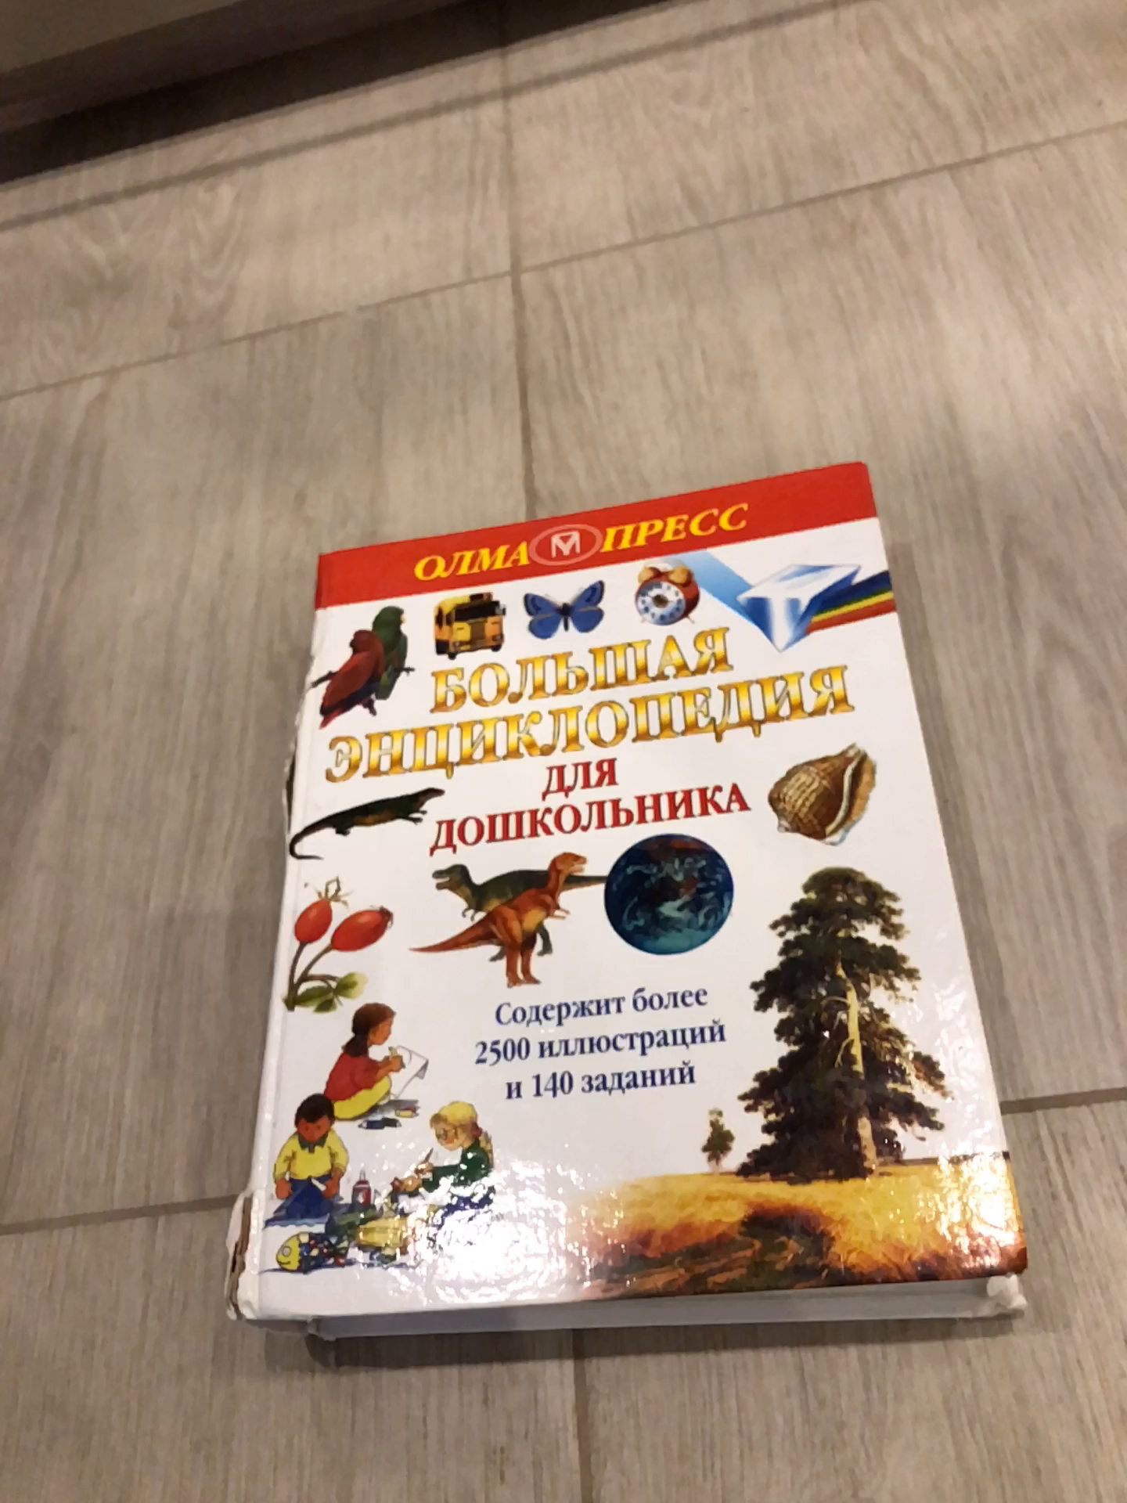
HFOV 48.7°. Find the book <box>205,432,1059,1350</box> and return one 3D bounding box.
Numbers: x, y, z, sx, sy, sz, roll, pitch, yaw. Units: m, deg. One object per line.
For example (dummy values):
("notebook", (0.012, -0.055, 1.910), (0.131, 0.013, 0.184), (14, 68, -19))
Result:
("book", (0.015, 0.034, 0.411), (0.216, 0.060, 0.281), (-7, 57, 10))
